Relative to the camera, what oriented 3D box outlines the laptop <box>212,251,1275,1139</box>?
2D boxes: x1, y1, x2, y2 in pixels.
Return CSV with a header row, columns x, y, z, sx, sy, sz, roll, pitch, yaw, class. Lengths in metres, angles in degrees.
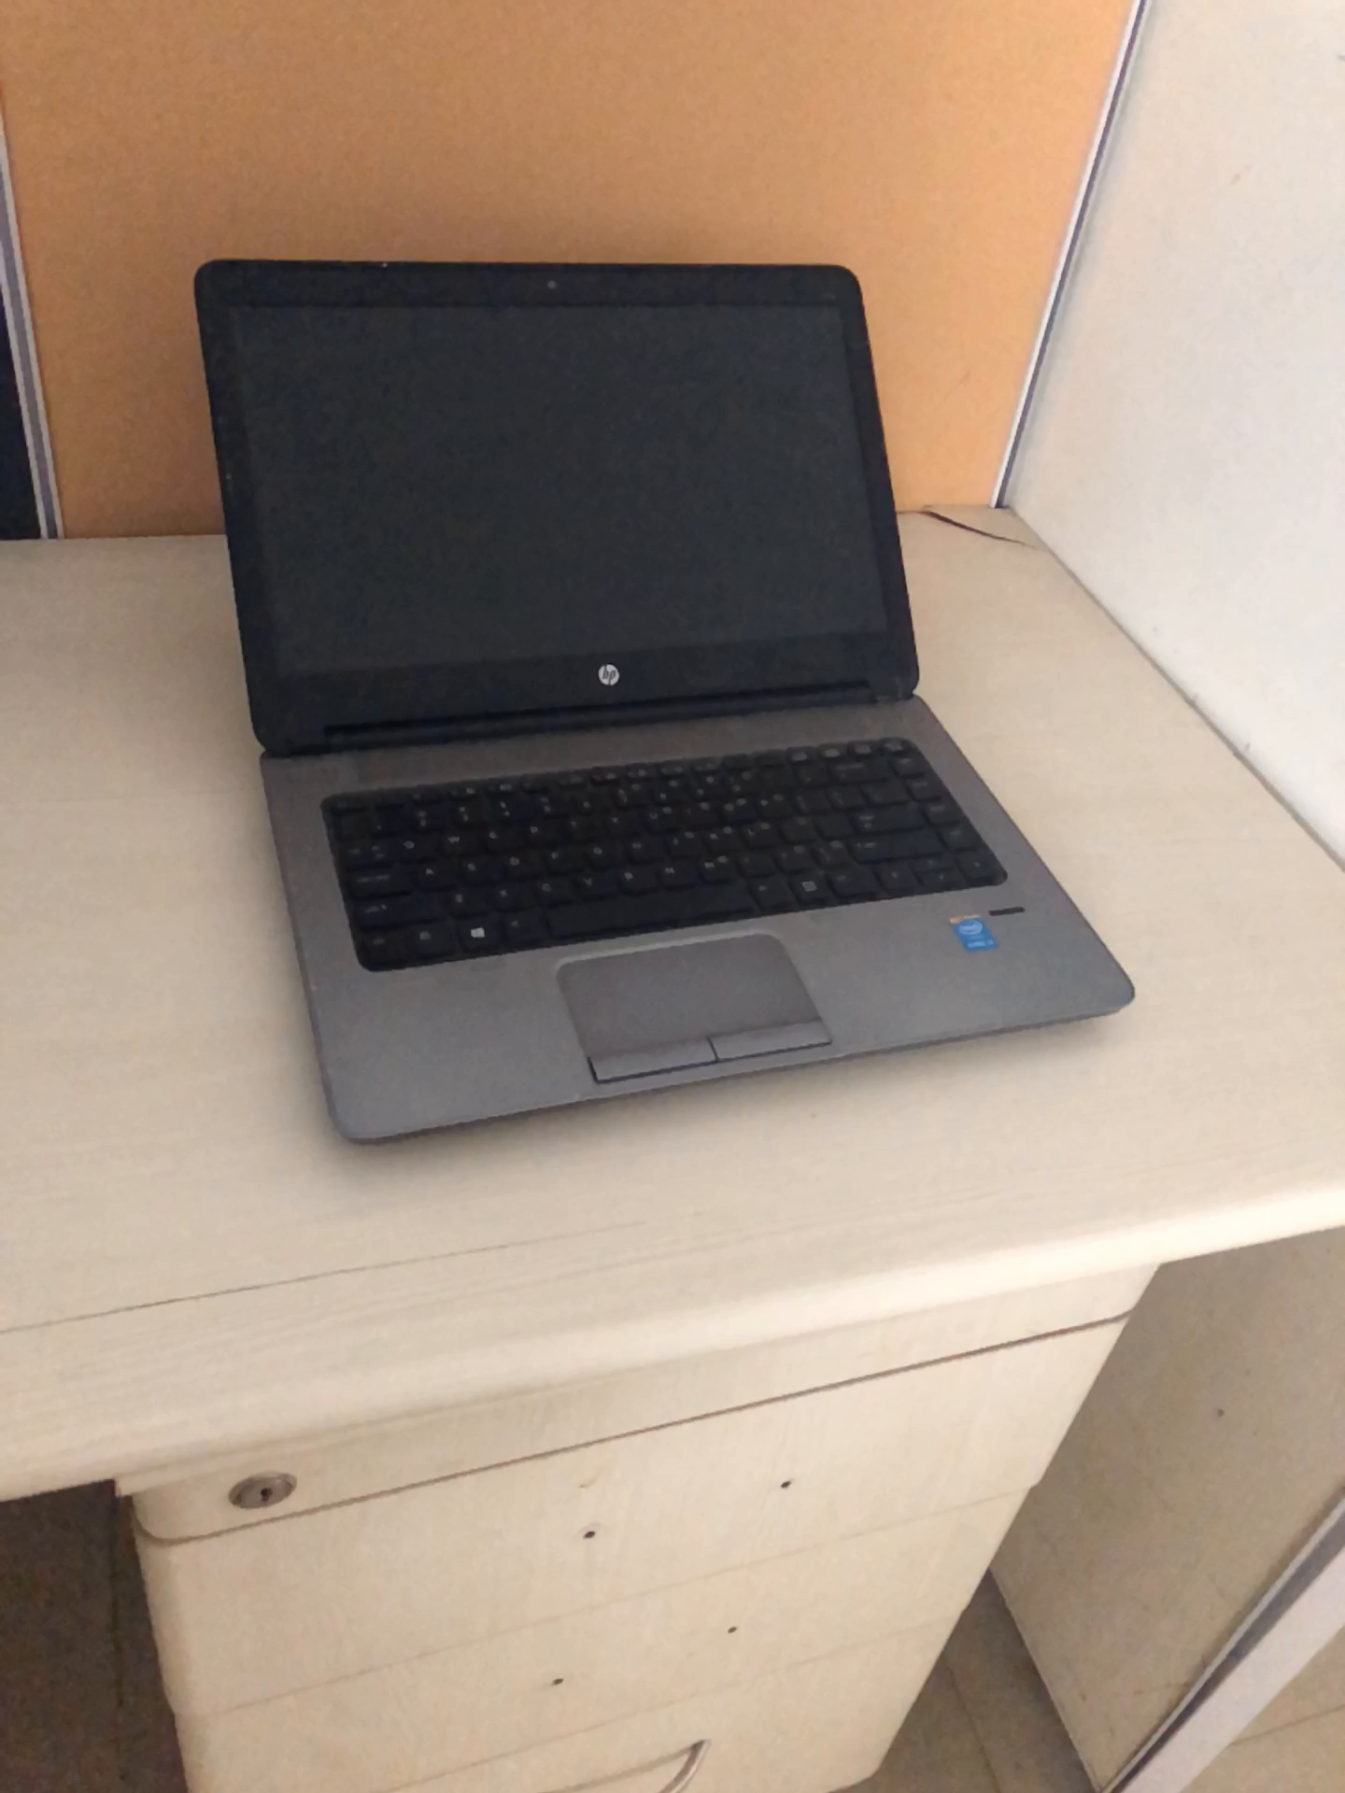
x,y,z,sx,sy,sz,roll,pitch,yaw,class
-0.007,-0.124,0.653,0.324,0.167,0.373,-8,45,-19,laptop
